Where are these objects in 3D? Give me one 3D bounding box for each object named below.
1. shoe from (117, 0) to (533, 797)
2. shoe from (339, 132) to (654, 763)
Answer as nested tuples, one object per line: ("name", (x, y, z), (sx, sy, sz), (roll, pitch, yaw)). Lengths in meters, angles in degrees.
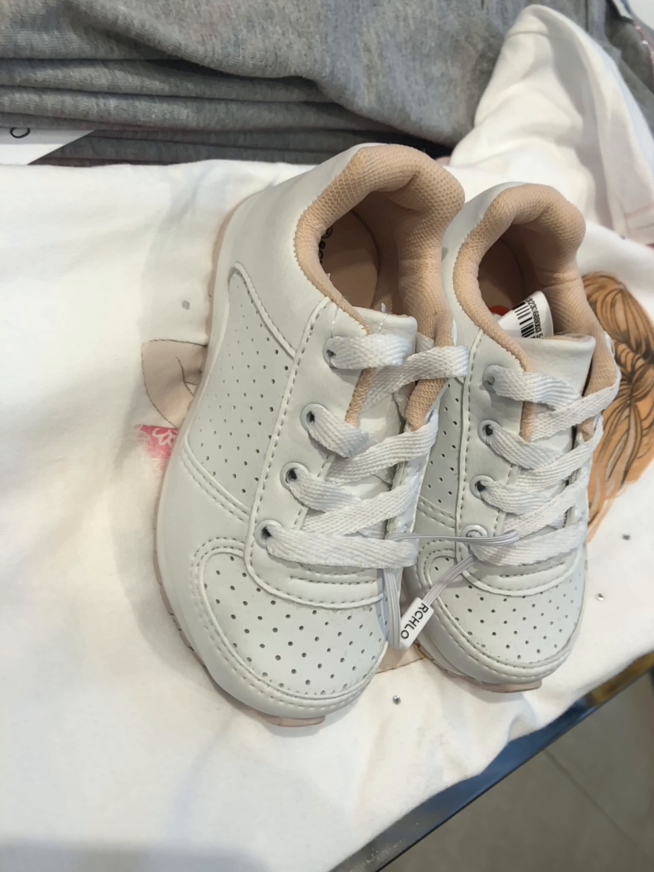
("shoe", (0.002, -0.006, 0.192), (0.080, 0.060, 0.160), (8, 81, -35))
("shoe", (0.060, 0.002, 0.233), (0.080, 0.060, 0.160), (-3, 88, -37))
